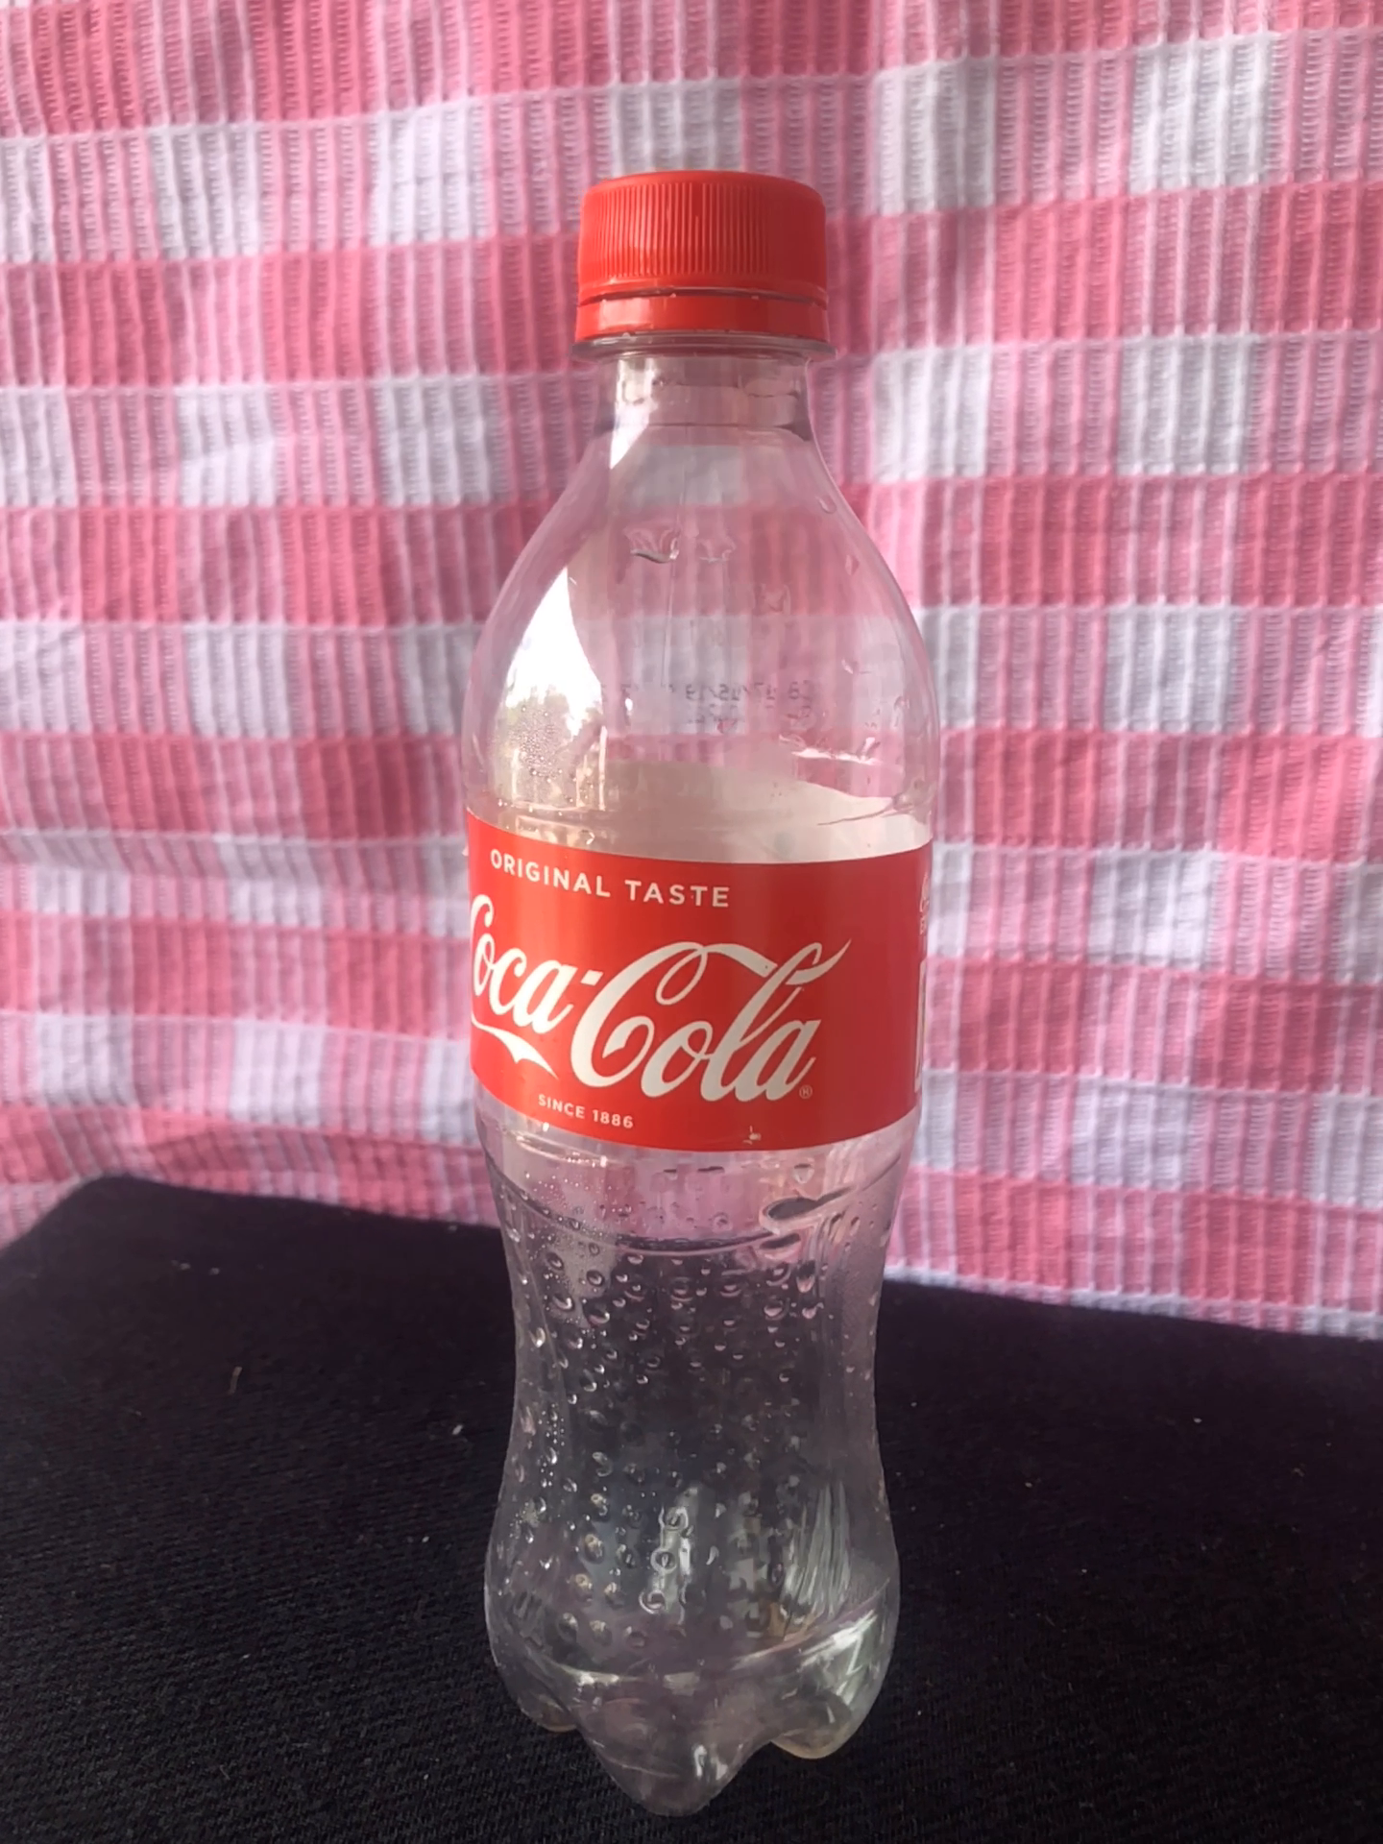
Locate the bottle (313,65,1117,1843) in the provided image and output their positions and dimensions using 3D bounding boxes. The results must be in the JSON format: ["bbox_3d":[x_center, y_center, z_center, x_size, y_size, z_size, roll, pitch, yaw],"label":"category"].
[{"bbox_3d":[0.002,0.011,0.190,0.060,0.189,0.060,1,16,0],"label":"bottle"}]
